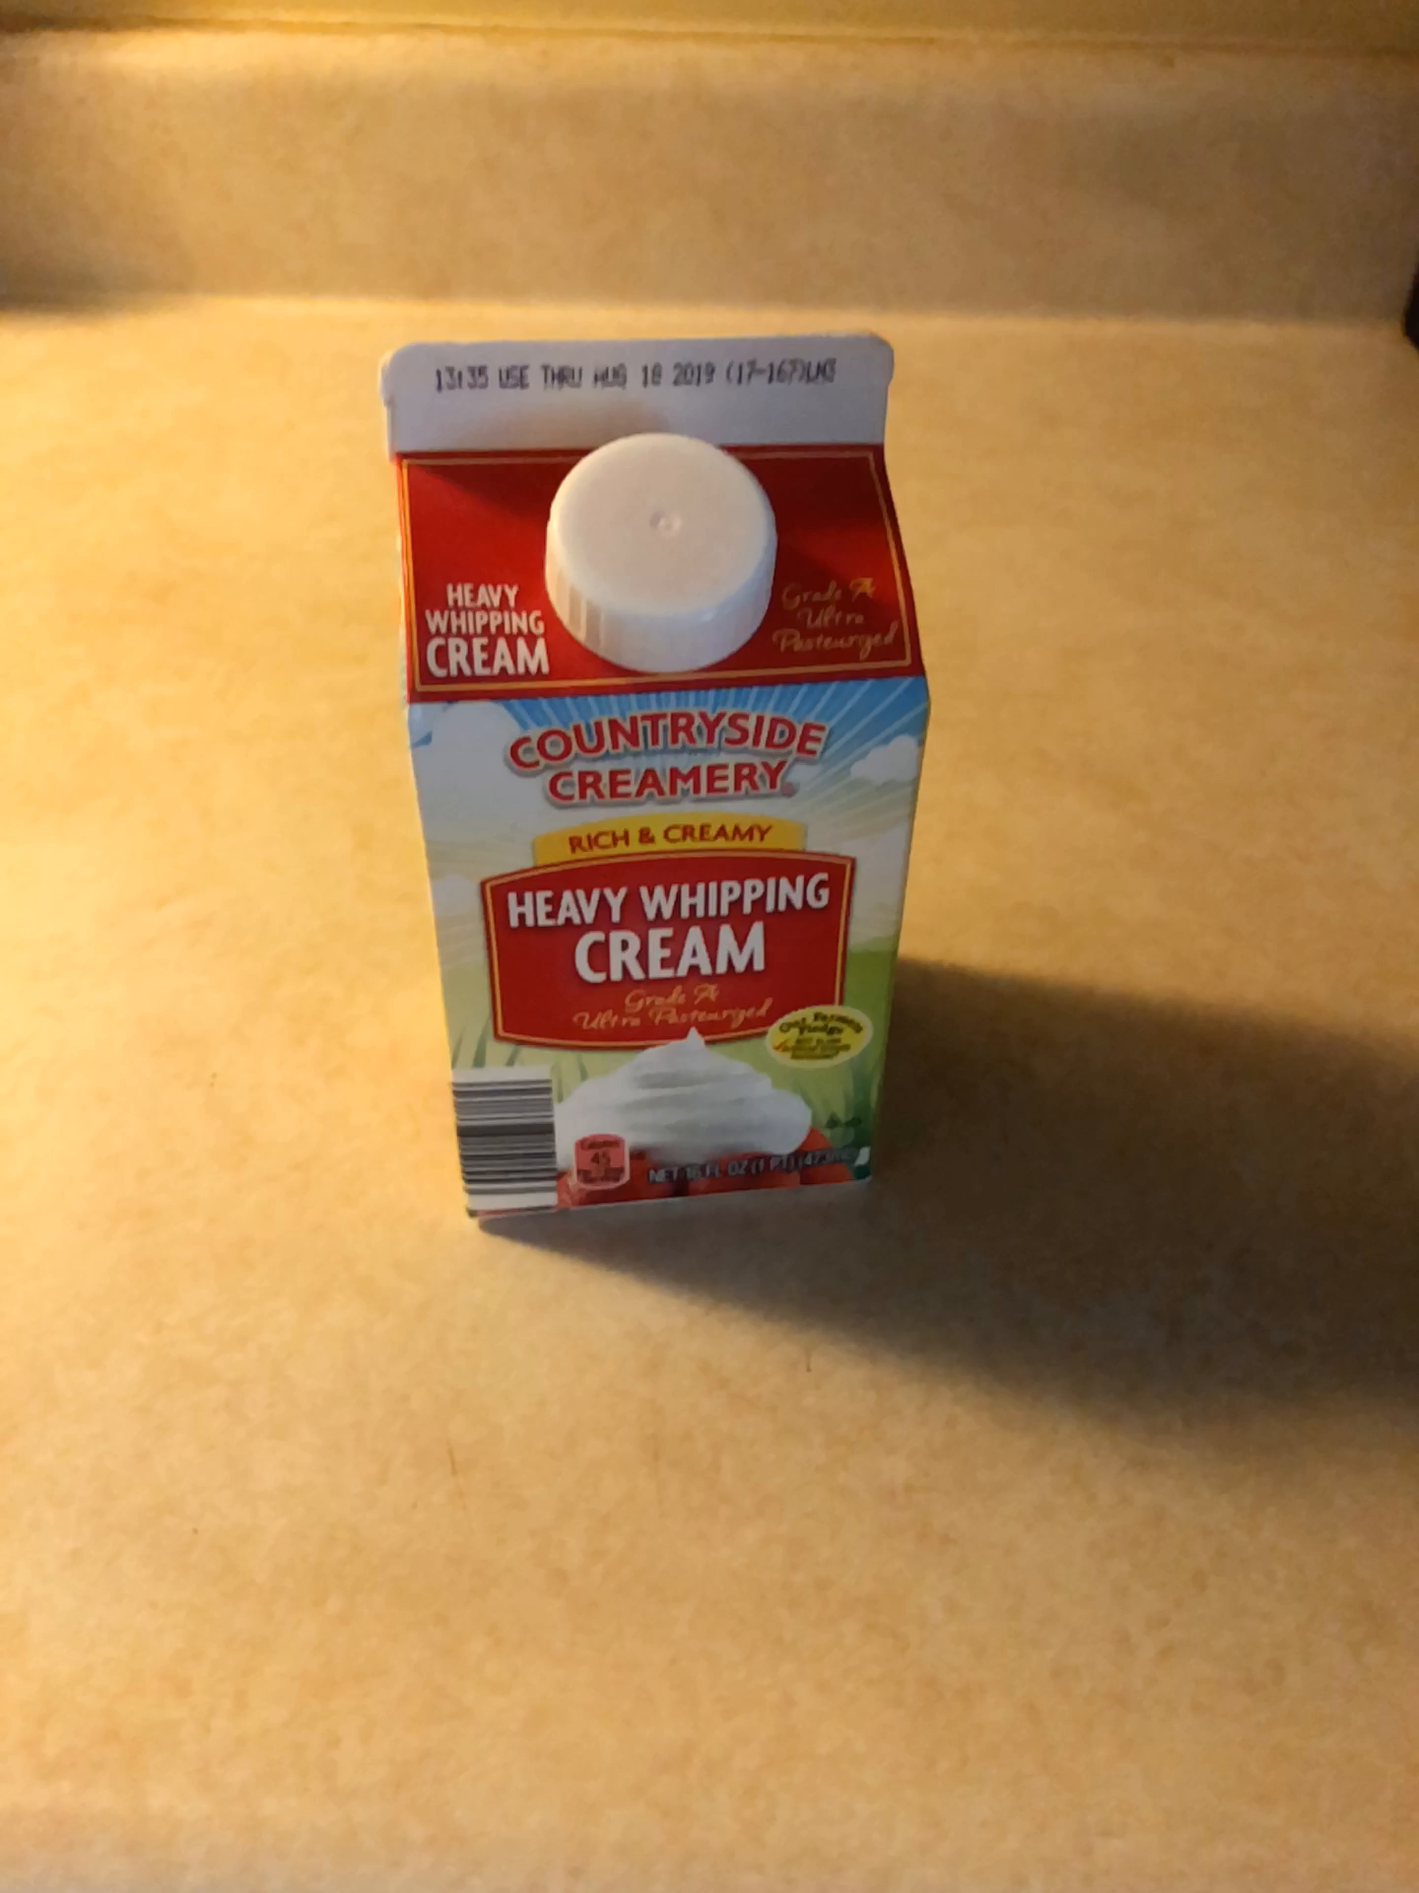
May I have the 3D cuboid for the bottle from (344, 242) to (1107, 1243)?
[{"bbox_3d":[-0.004,-0.034,0.261,0.090,0.130,0.090,1,38,-1],"label":"bottle"}]
